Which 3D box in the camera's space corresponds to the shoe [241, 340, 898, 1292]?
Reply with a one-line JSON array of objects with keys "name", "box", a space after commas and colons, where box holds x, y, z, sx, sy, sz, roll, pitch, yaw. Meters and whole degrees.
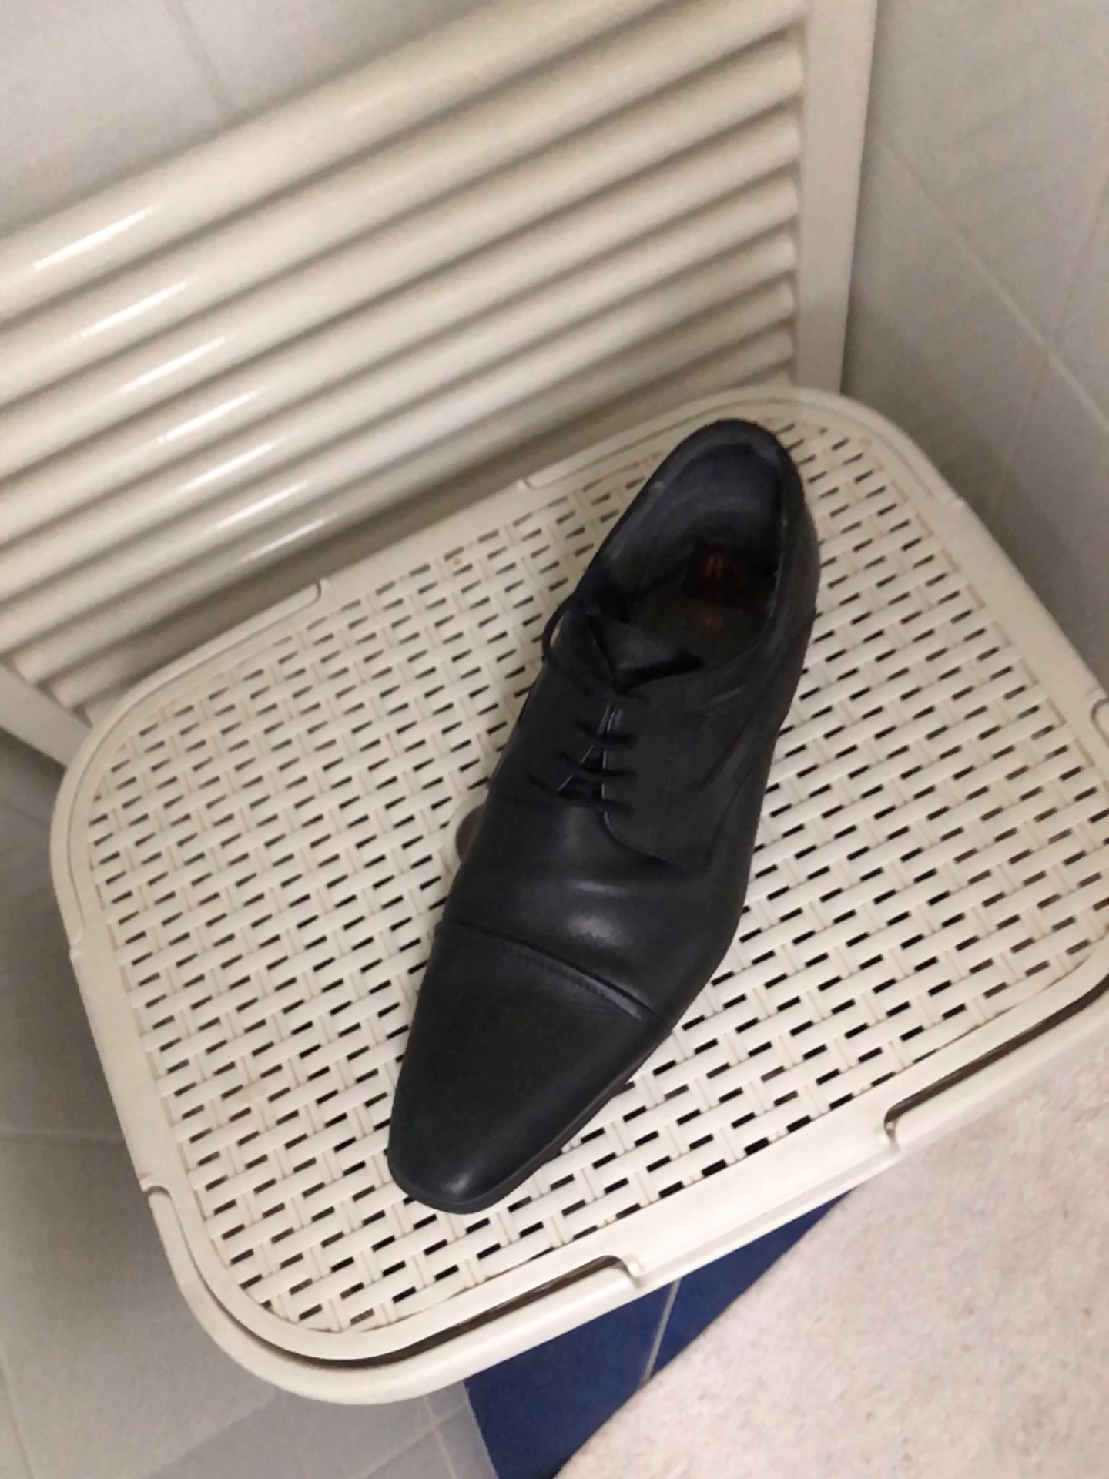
[{"name": "shoe", "box": [0.020, 0.021, 0.454, 0.110, 0.100, 0.311, 19, 74, 16]}]
